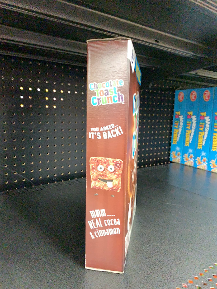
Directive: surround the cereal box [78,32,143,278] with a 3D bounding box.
[{"bbox_3d":[0.016,0.006,0.408,0.070,0.319,0.240,3,9,9],"label":"cereal box"}]
